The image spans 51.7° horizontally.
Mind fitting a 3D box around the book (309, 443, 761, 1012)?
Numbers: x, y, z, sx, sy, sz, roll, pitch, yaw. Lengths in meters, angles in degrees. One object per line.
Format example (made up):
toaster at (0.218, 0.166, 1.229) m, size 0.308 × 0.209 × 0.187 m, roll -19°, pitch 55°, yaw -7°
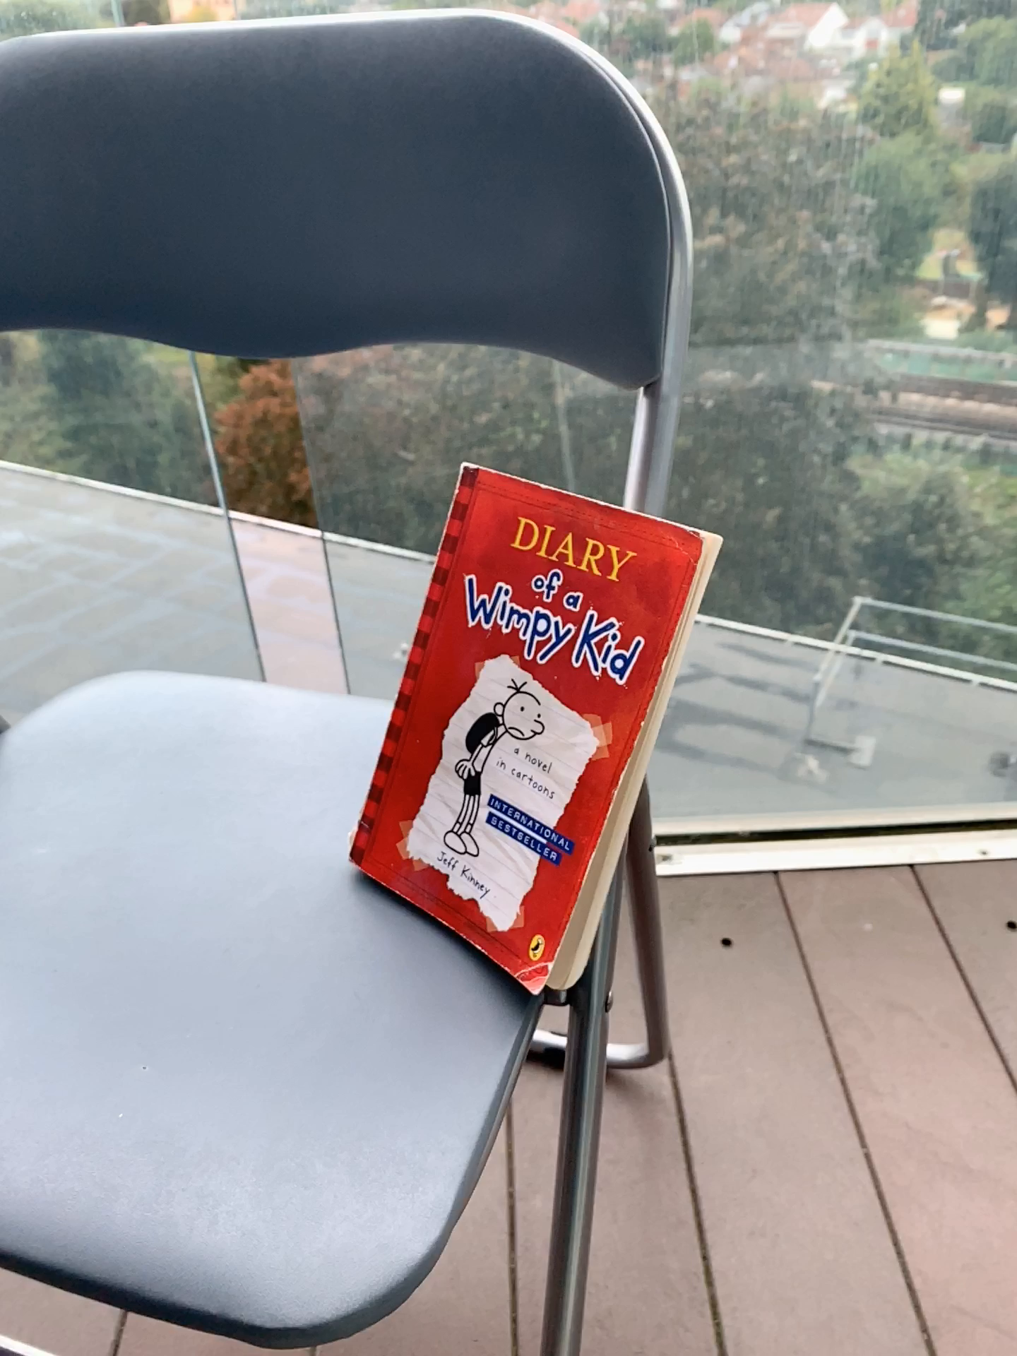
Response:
book at (0.003, 0.014, 0.461) m, size 0.151 × 0.199 × 0.040 m, roll 24°, pitch 10°, yaw 35°
